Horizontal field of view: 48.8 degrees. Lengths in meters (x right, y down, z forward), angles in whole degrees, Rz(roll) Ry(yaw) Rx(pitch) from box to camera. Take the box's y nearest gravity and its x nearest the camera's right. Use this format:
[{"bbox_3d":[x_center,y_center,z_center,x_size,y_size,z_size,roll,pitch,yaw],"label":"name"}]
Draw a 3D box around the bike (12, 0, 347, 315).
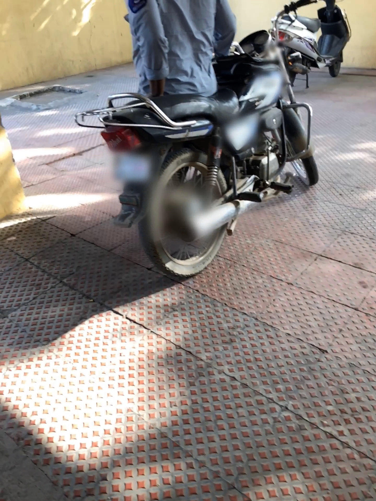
[{"bbox_3d":[0.089,-0.620,2.034,0.817,1.063,1.307,17,40,30],"label":"bike"}]
